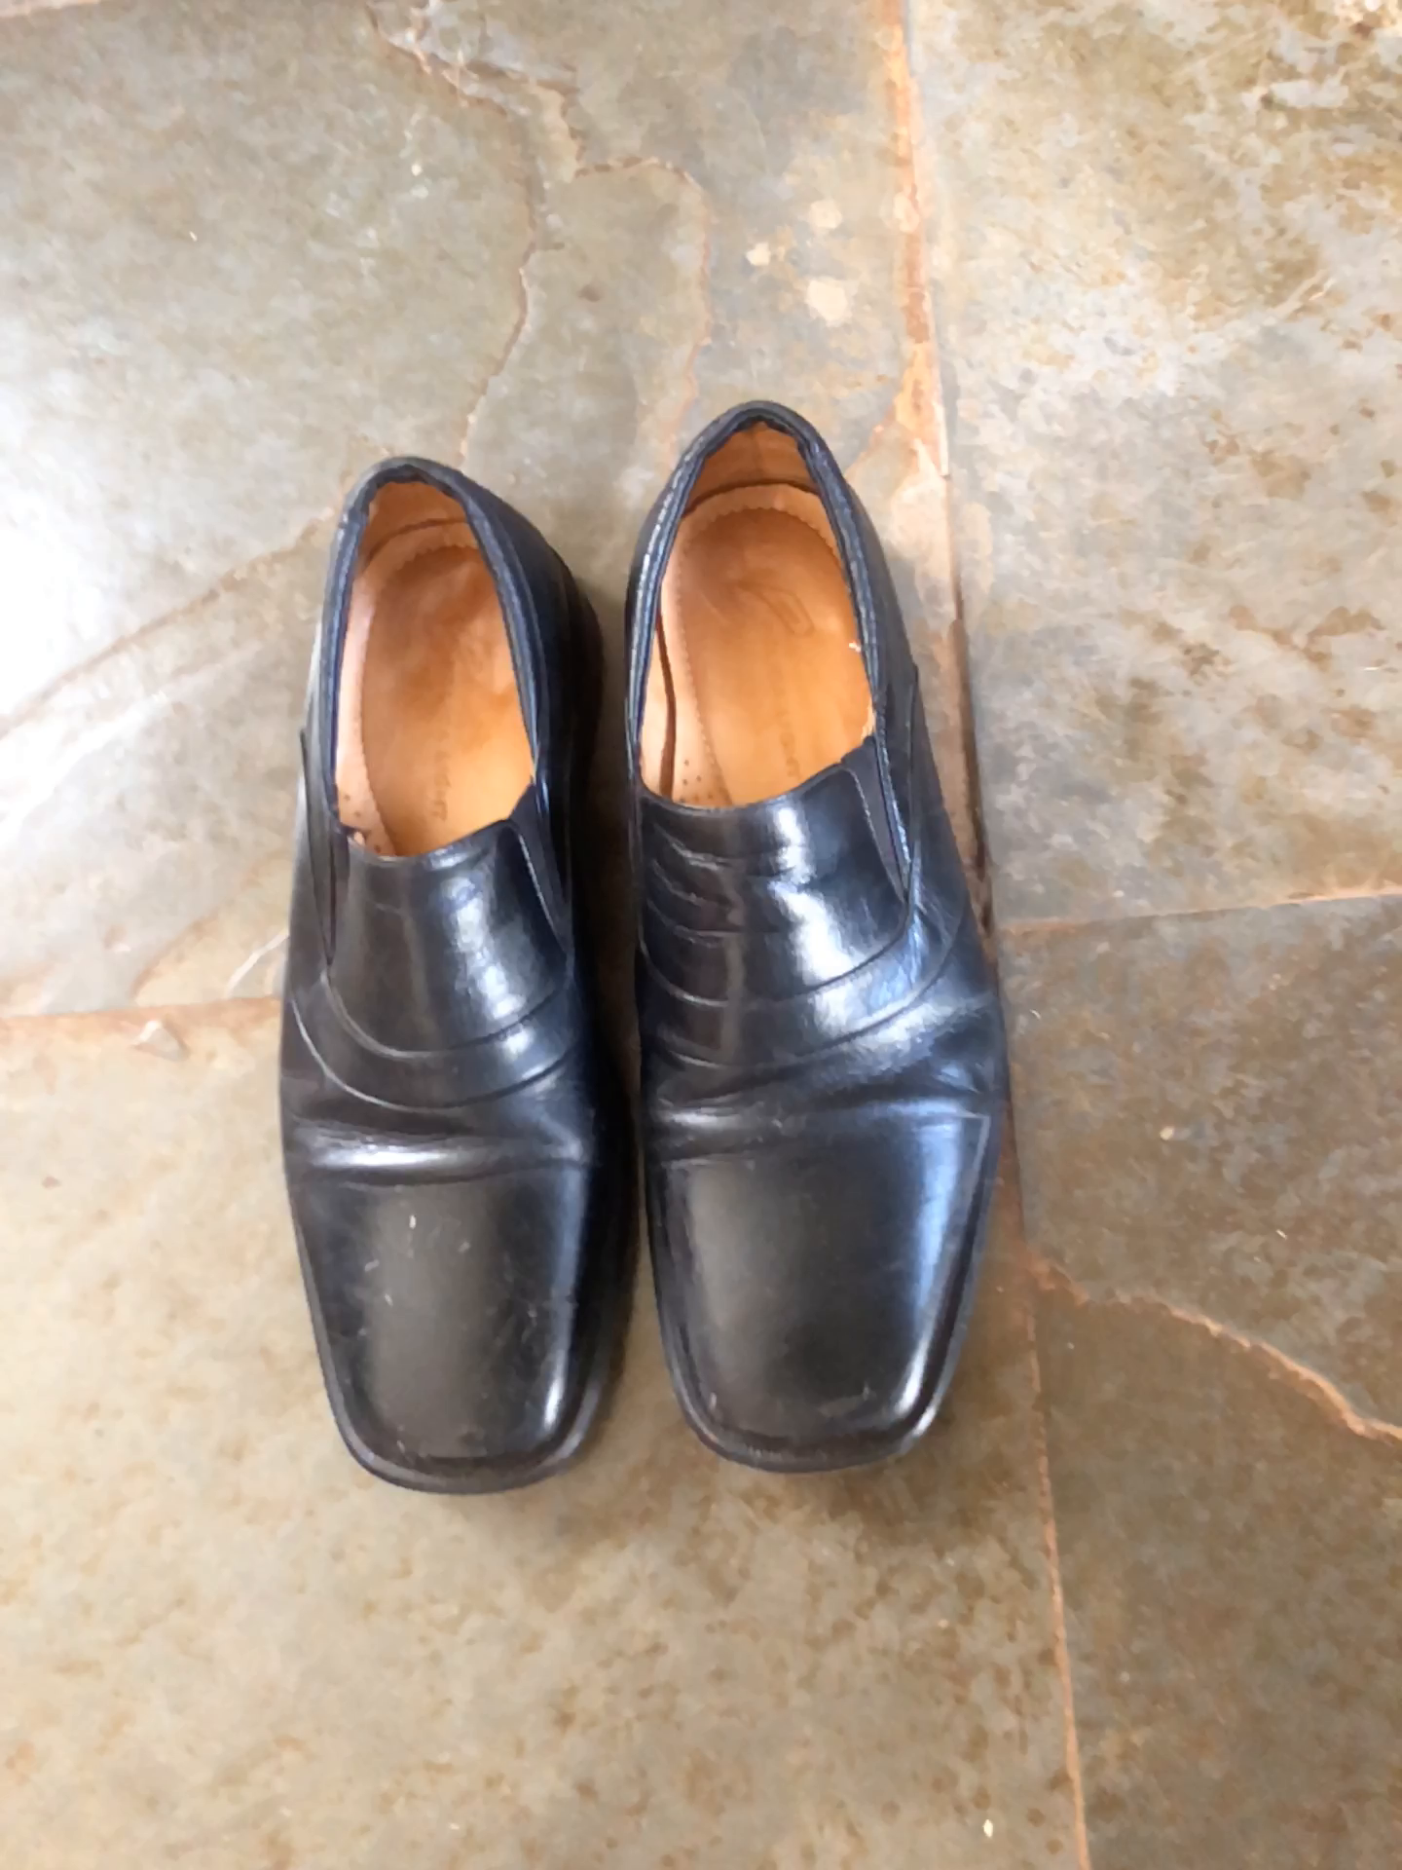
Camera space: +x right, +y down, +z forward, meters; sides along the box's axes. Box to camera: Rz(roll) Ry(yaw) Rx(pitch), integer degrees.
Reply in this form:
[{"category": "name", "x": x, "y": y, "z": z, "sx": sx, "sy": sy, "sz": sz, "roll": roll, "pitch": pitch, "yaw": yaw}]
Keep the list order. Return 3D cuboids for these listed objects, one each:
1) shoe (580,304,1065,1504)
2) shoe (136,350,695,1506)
[{"category": "shoe", "x": 0.030, "y": -0.005, "z": 0.409, "sx": 0.100, "sy": 0.110, "sz": 0.280, "roll": -3, "pitch": 76, "yaw": 8}, {"category": "shoe", "x": -0.069, "y": 0.001, "z": 0.426, "sx": 0.110, "sy": 0.110, "sz": 0.280, "roll": -4, "pitch": 76, "yaw": 8}]
